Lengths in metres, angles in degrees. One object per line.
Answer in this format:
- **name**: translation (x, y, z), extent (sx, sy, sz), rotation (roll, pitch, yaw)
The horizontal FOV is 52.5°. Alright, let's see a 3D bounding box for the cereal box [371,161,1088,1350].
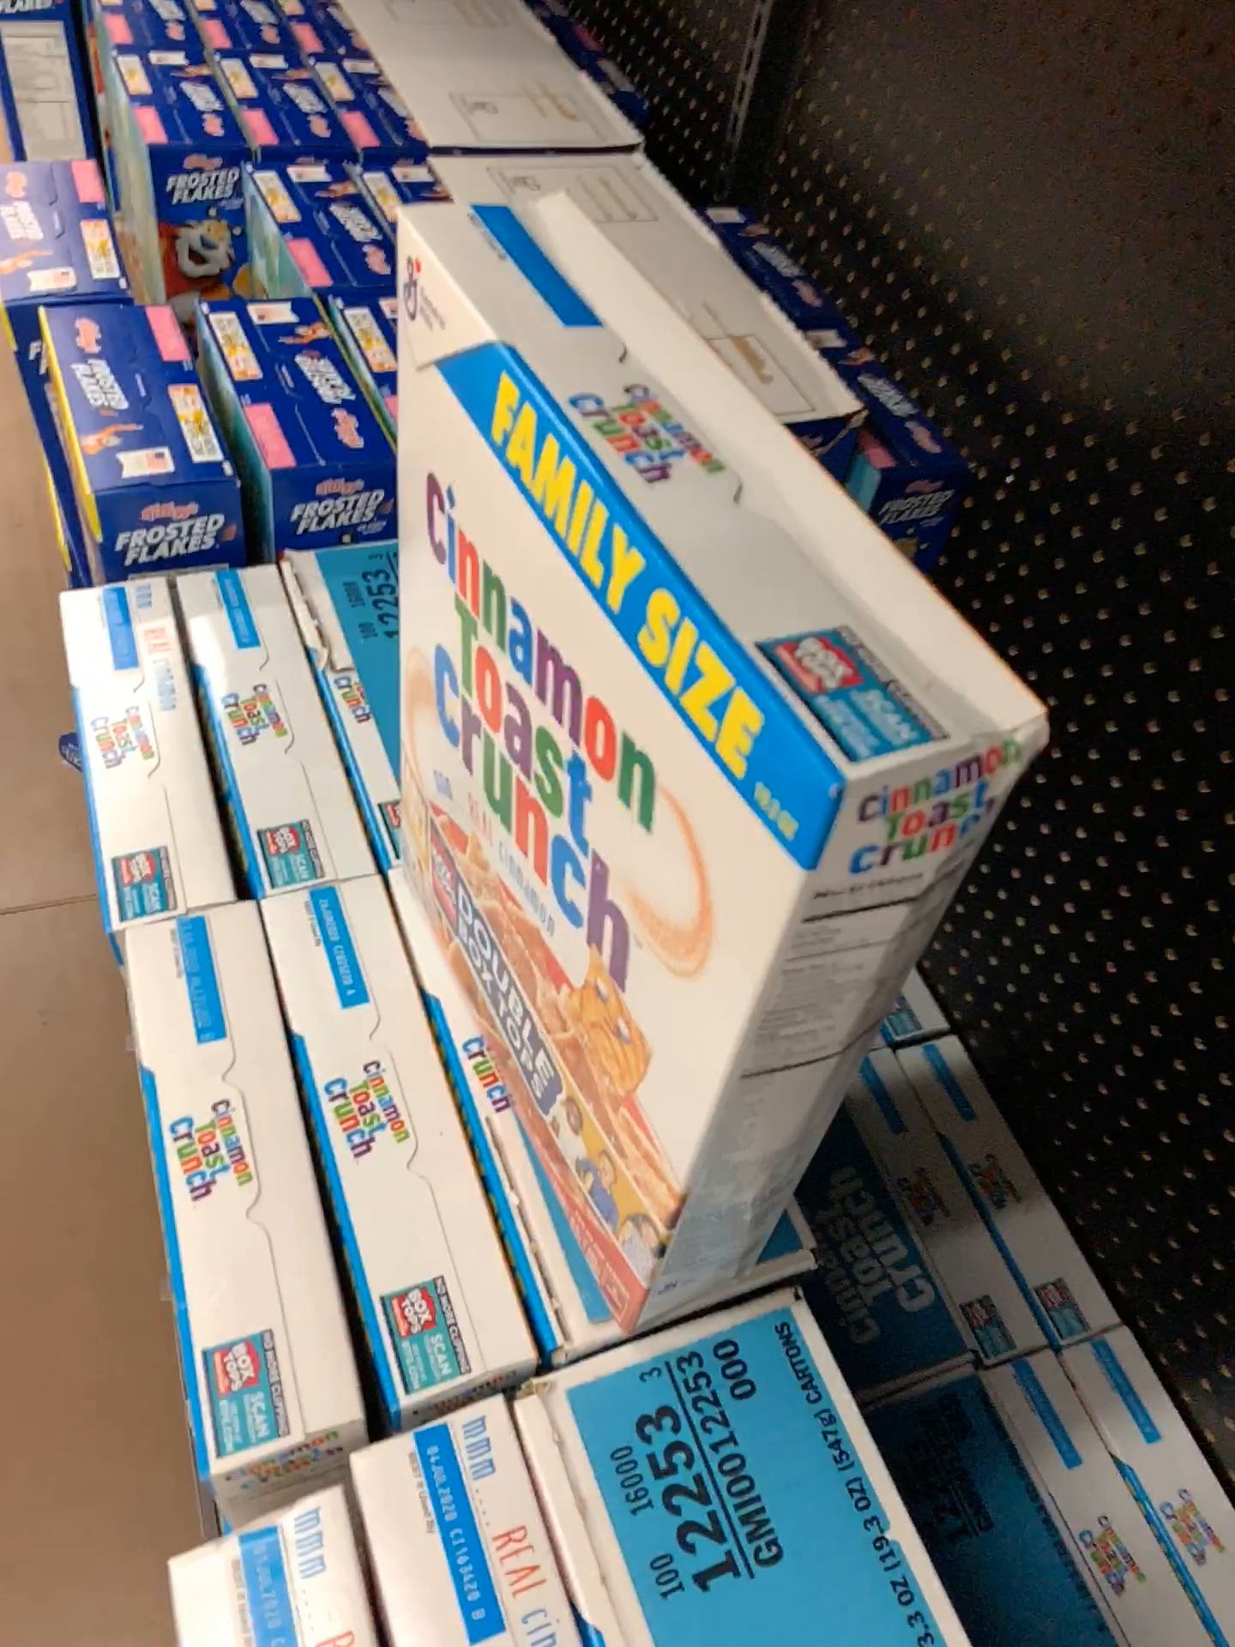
- **cereal box**: translation (-0.010, -0.006, 0.407), extent (0.060, 0.299, 0.241), rotation (-16, 54, -23)
